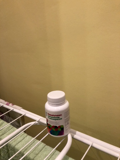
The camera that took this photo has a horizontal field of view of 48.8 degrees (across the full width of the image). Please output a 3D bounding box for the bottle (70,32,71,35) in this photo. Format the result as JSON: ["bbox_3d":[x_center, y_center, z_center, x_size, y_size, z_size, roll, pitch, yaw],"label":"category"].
[{"bbox_3d":[1.156,-5.245,14.931,0.075,0.257,0.076,-3,17,1],"label":"bottle"}]
